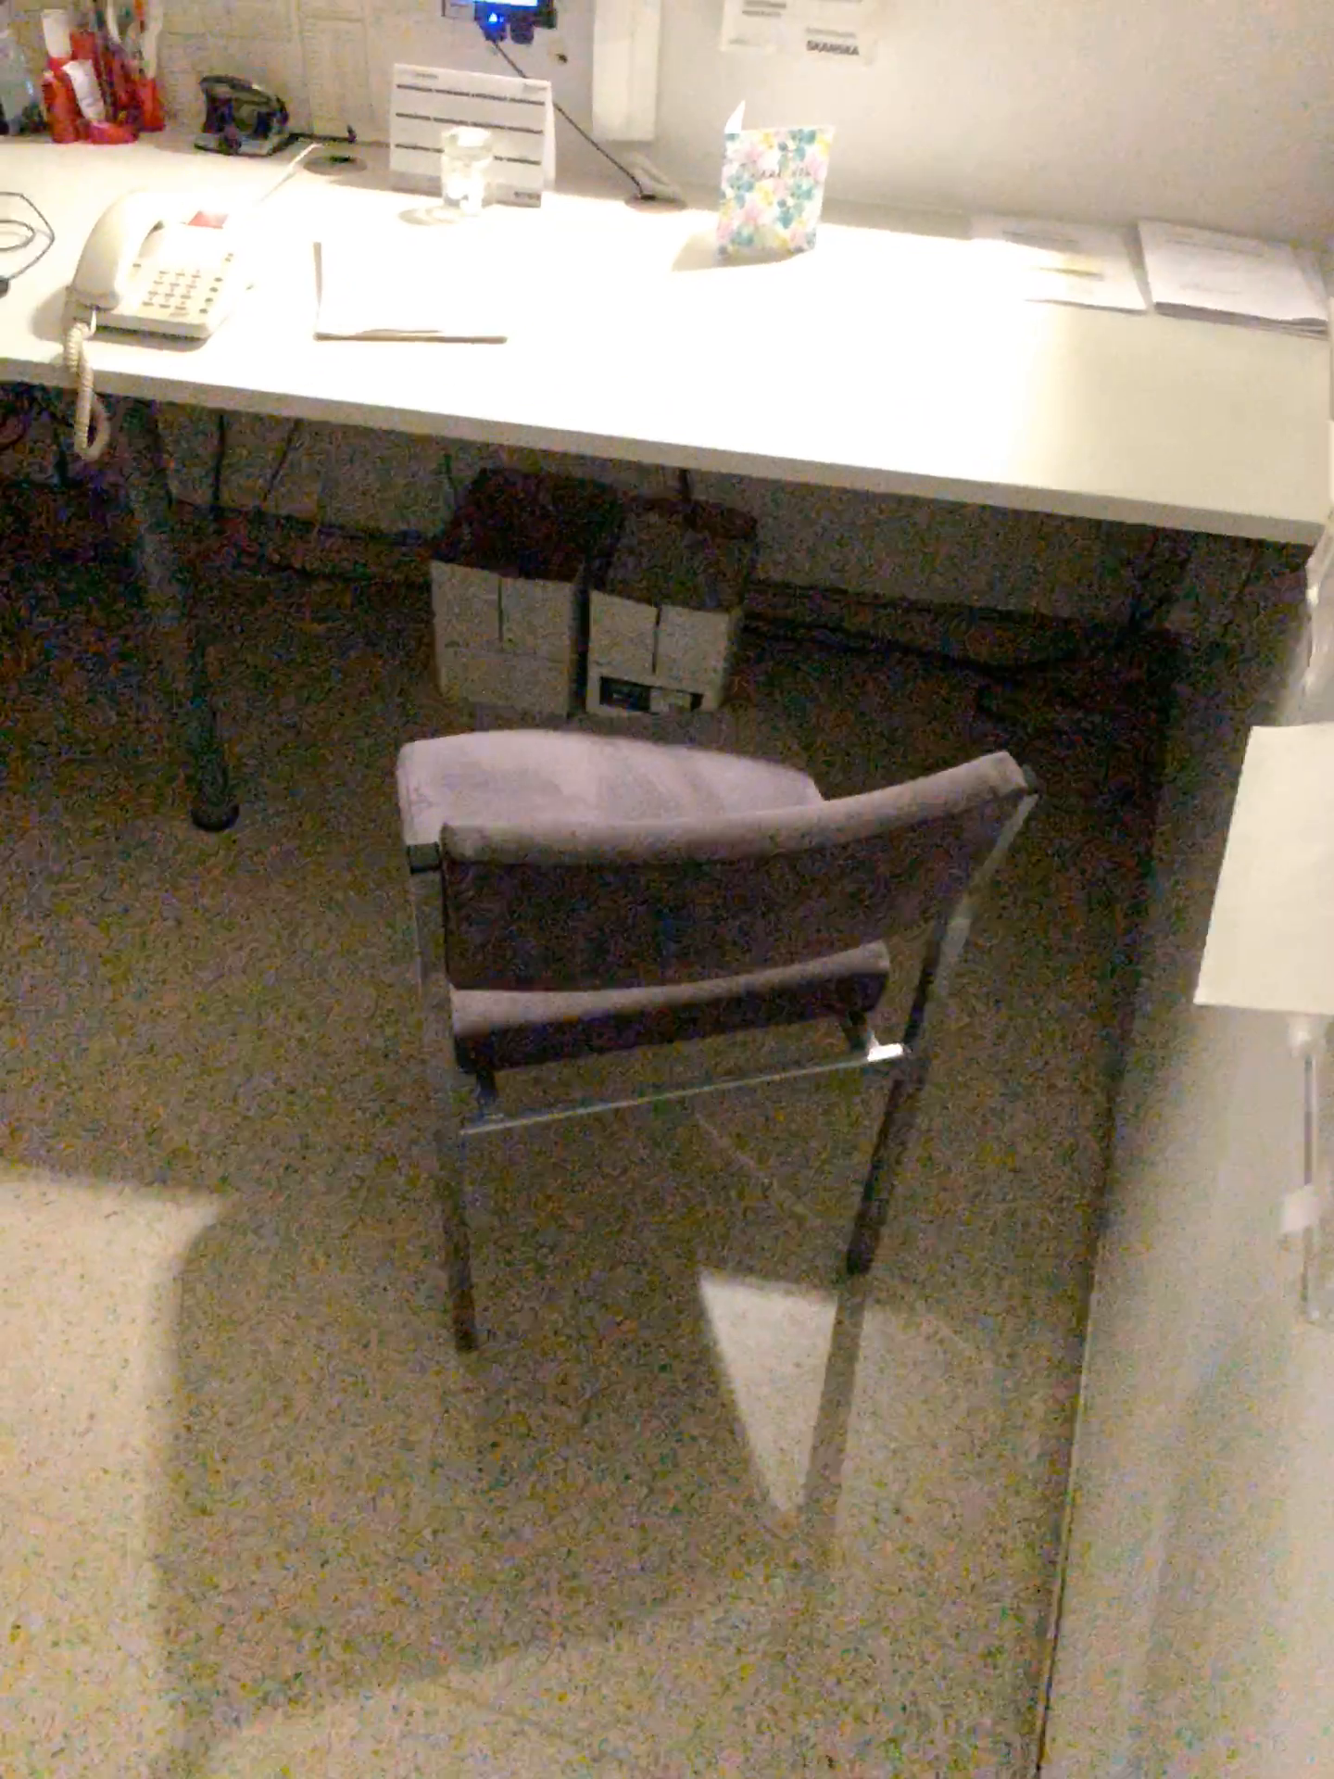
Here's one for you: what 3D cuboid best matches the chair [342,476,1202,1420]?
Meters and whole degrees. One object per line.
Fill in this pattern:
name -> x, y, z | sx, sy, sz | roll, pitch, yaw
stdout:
chair -> 0.018, 0.047, 1.325 | 0.570, 0.663, 0.555 | -6, 44, -12
